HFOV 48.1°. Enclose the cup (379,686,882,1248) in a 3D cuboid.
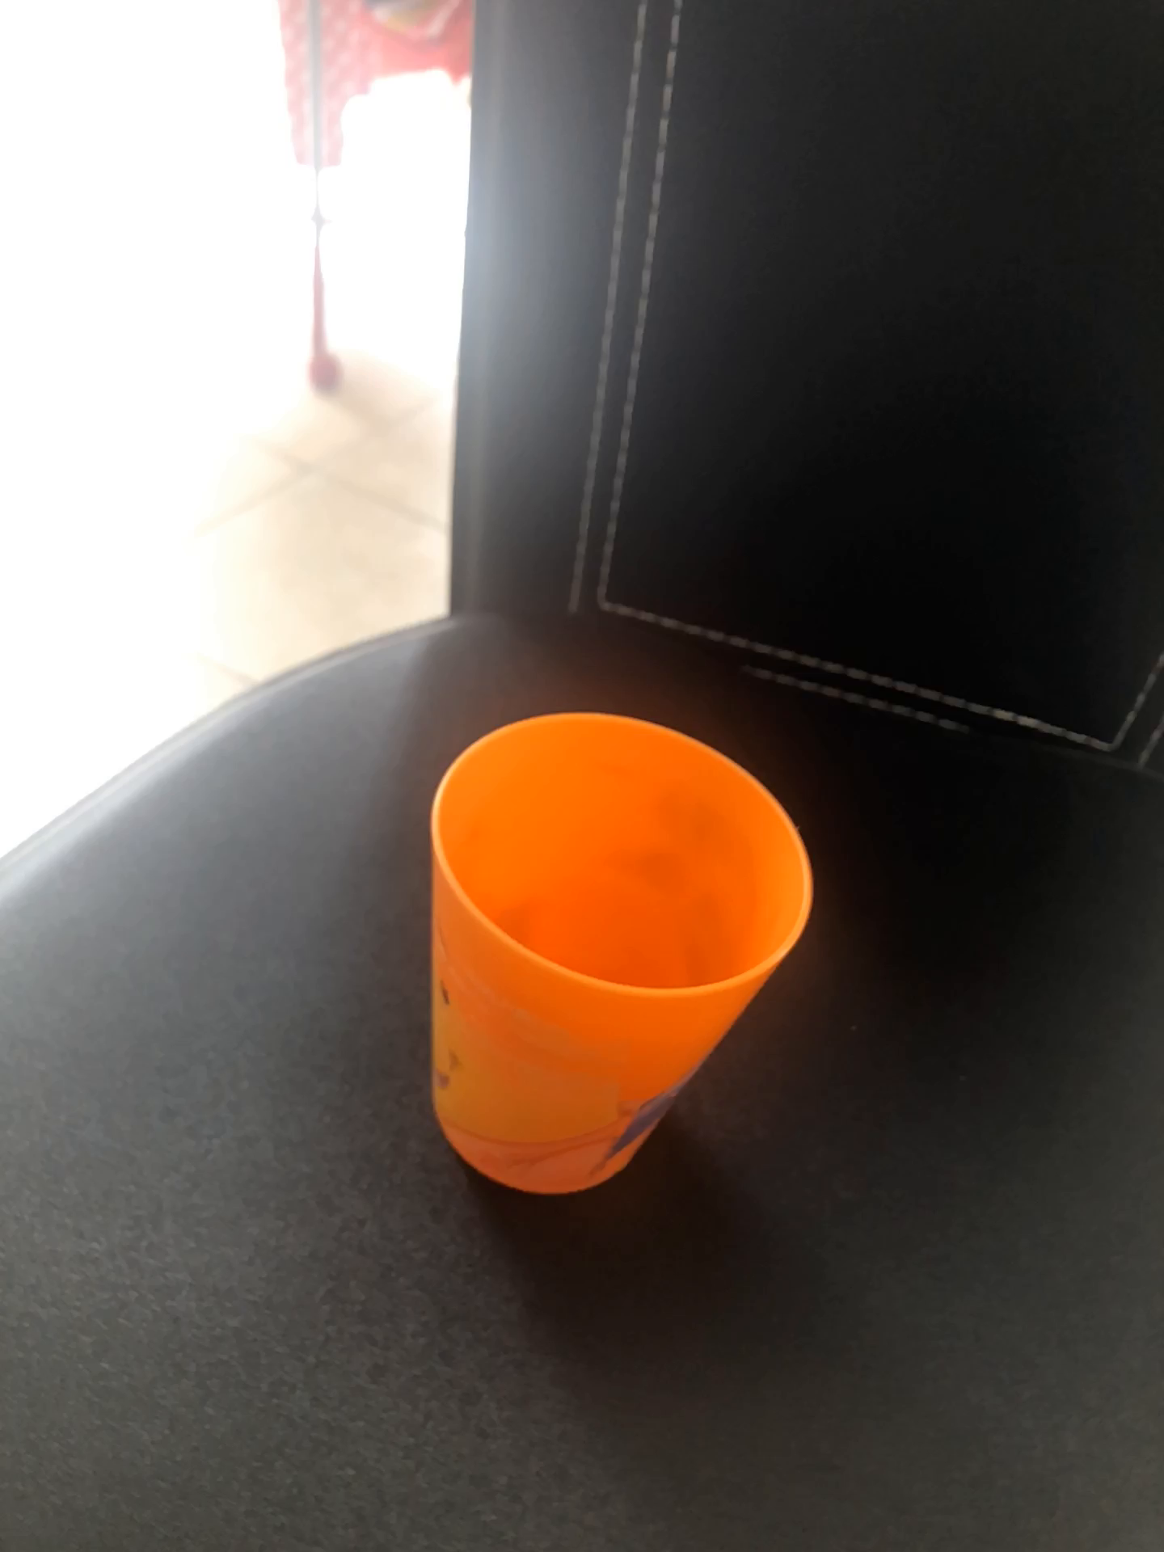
[{"bbox_3d":[0.002,0.041,0.295,0.080,0.089,0.080,7,41,-6],"label":"cup"}]
